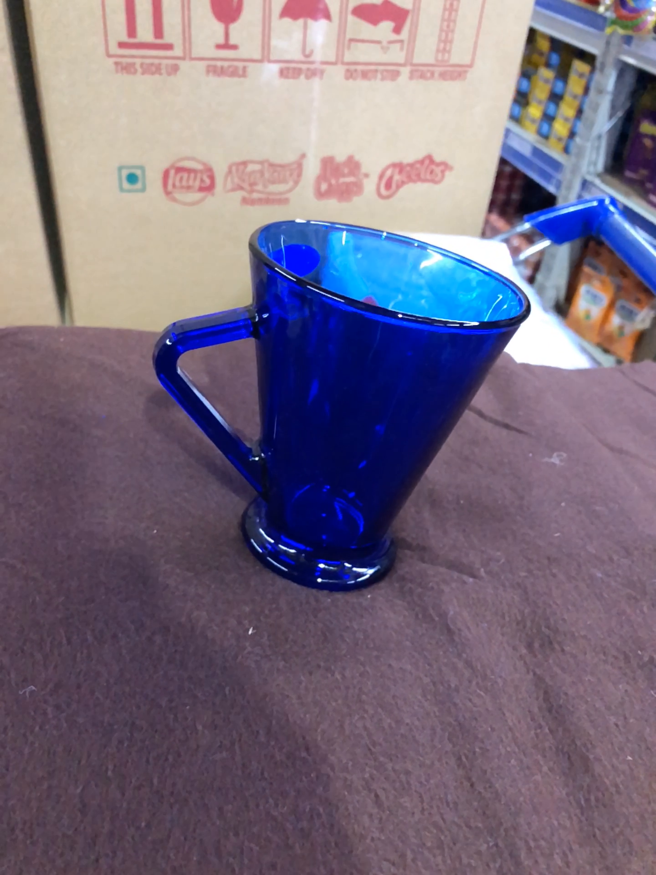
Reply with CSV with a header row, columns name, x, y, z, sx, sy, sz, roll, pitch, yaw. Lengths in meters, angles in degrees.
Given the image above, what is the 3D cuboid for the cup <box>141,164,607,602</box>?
name,x,y,z,sx,sy,sz,roll,pitch,yaw
cup,0.002,-0.011,0.236,0.110,0.109,0.070,5,38,-15
